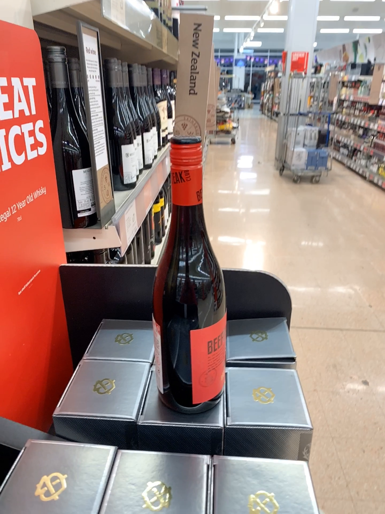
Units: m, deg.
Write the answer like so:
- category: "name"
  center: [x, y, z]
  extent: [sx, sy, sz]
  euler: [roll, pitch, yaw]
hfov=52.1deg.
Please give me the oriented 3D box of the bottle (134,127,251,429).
- category: "bottle"
  center: [0.003, 0.024, 0.396]
  extent: [0.080, 0.284, 0.083]
  euler: [1, 23, 0]
